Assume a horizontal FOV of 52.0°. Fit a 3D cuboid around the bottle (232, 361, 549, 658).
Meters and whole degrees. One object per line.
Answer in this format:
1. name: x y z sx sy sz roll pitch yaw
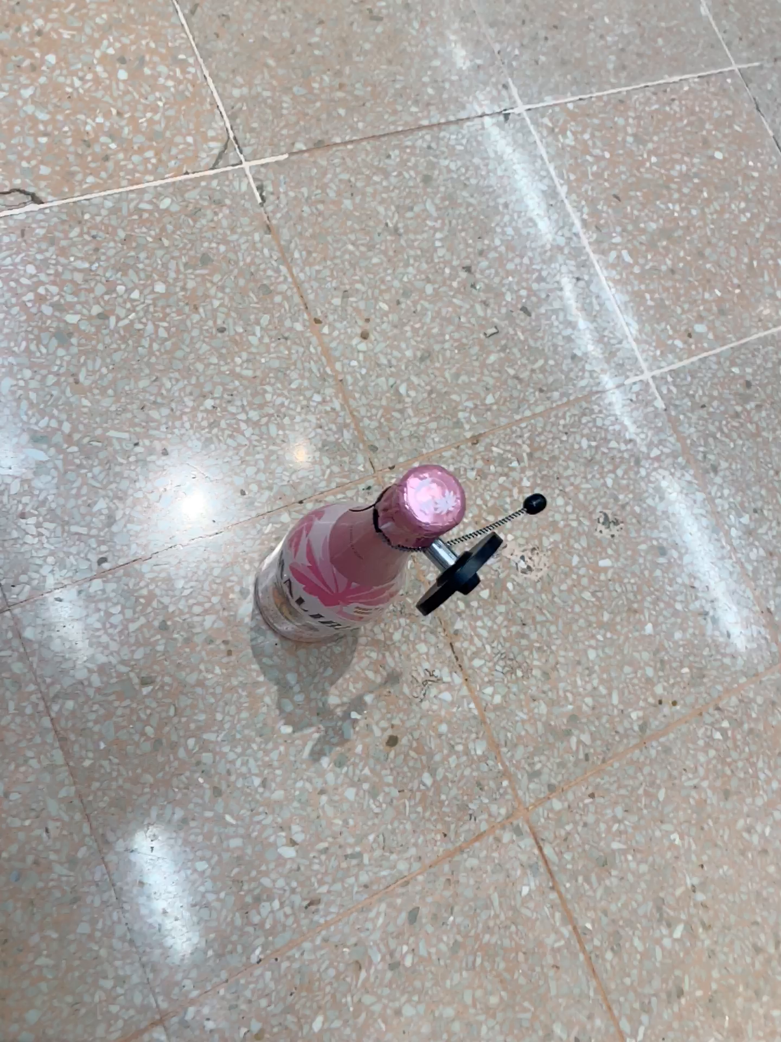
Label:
1. bottle: -0.026 0.017 0.491 0.080 0.309 0.080 4 76 -16
